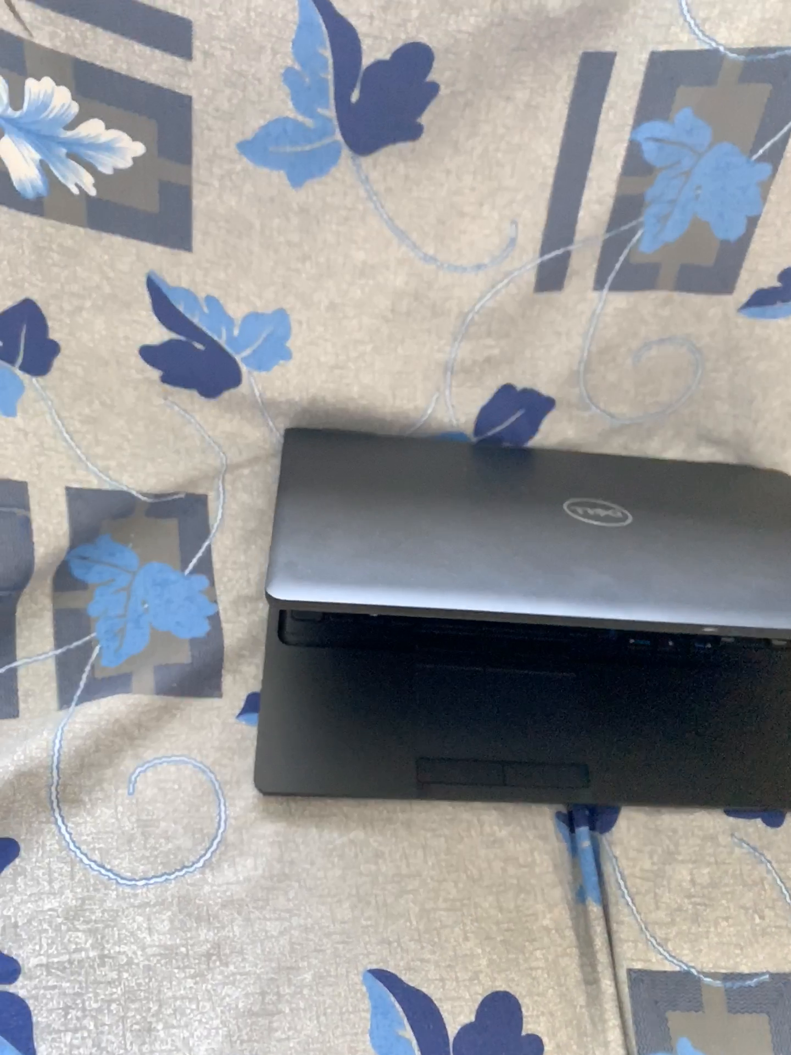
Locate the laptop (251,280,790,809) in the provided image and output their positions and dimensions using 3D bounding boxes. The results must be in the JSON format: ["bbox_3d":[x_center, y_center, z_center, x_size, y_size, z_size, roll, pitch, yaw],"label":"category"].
[{"bbox_3d":[0.118,0.017,0.463,0.371,0.142,0.239,4,58,-7],"label":"laptop"}]
